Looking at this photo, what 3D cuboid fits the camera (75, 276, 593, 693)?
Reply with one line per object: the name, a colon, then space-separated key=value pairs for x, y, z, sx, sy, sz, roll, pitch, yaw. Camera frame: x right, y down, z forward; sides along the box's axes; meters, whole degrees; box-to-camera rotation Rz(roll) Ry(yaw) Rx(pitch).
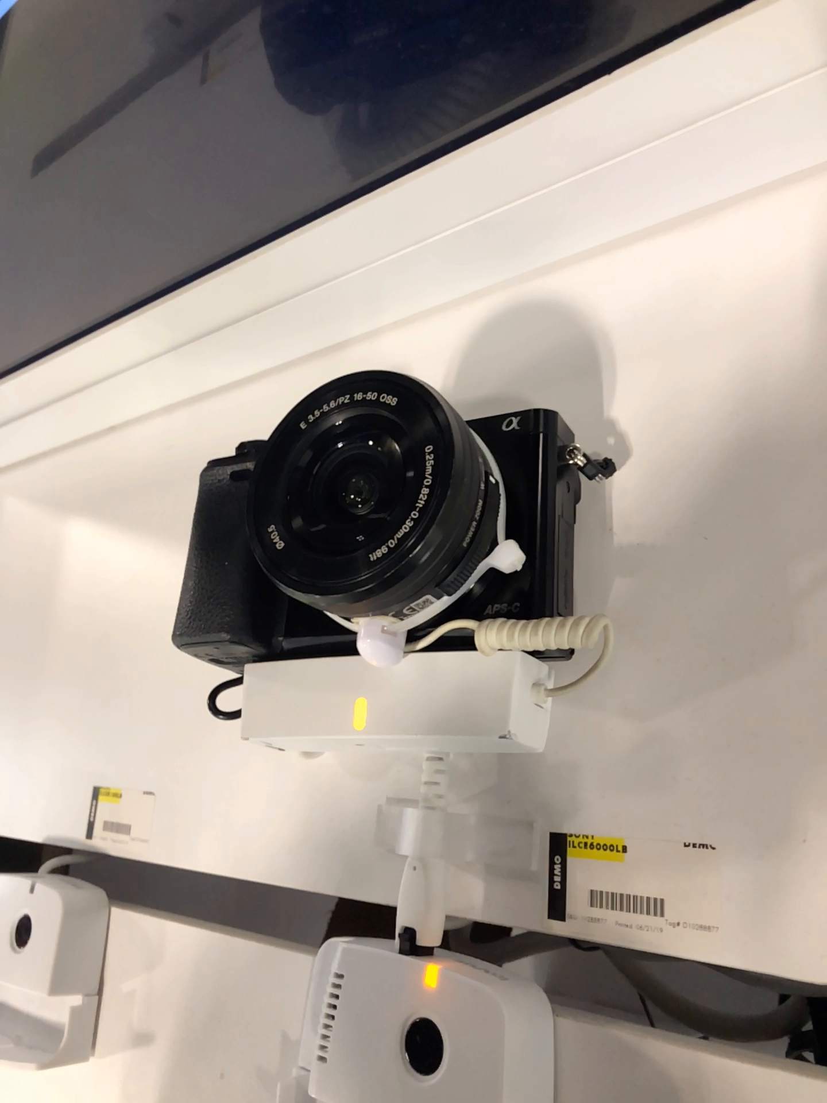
camera: x=-0.022 y=-0.009 z=0.273 sx=0.131 sy=0.070 sz=0.090 roll=-6 pitch=70 yaw=32
